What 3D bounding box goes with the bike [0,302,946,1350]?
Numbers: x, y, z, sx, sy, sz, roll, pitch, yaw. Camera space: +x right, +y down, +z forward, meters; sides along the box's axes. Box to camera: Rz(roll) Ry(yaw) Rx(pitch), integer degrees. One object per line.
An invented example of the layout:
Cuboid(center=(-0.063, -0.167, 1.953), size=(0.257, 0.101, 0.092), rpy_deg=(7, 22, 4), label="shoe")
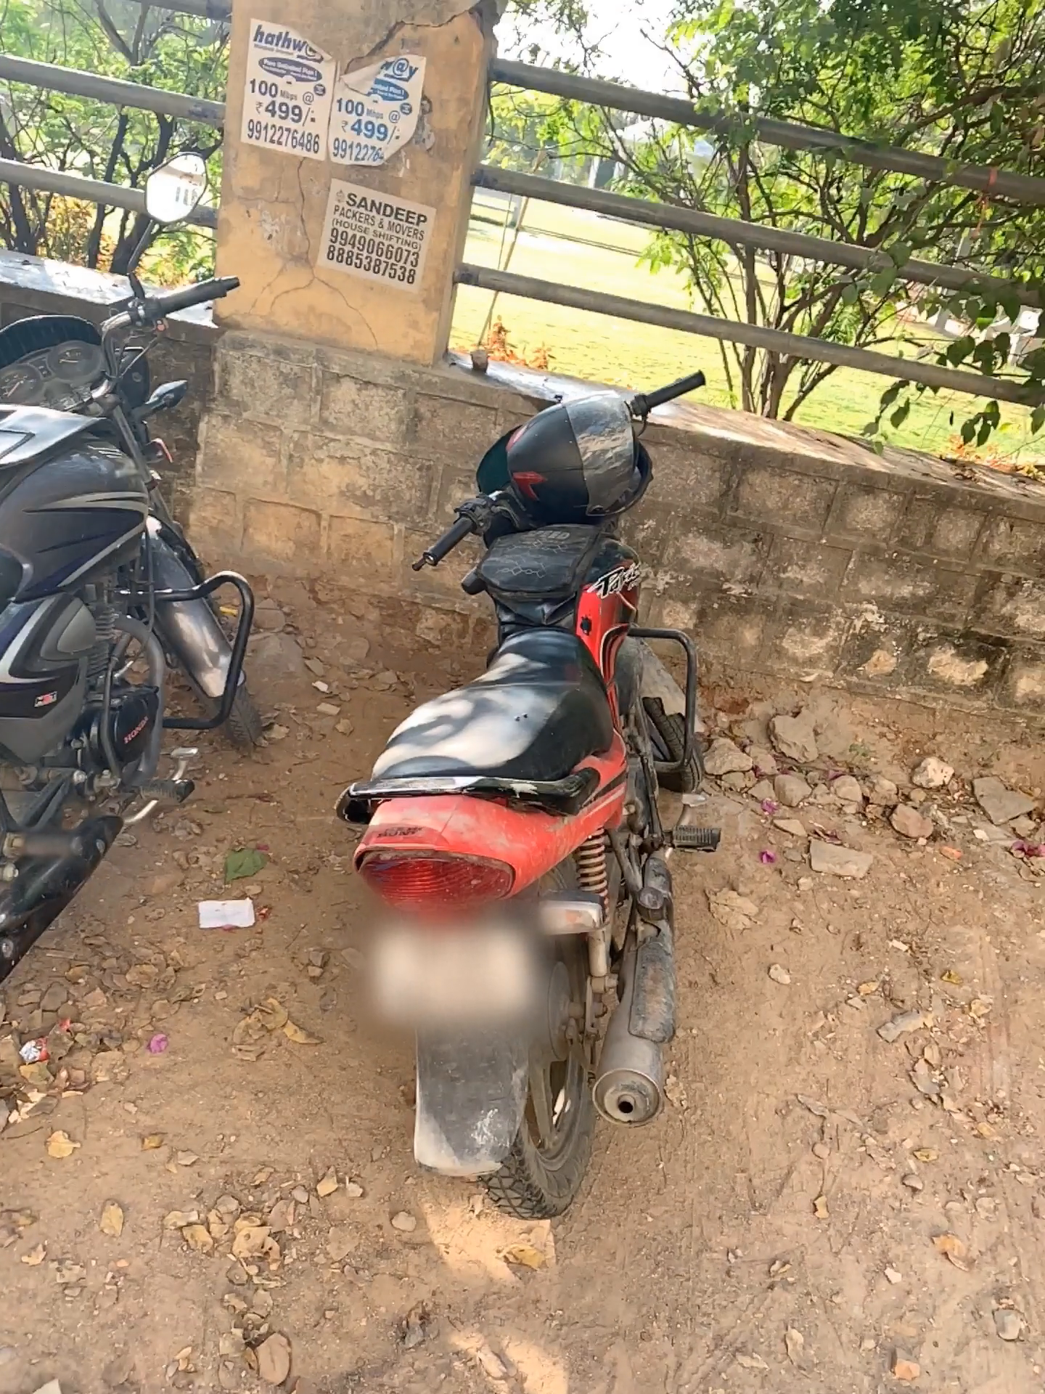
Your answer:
Cuboid(center=(-0.087, 0.015, 2.092), size=(1.063, 1.246, 1.603), rpy_deg=(14, 24, 3), label="bike")
